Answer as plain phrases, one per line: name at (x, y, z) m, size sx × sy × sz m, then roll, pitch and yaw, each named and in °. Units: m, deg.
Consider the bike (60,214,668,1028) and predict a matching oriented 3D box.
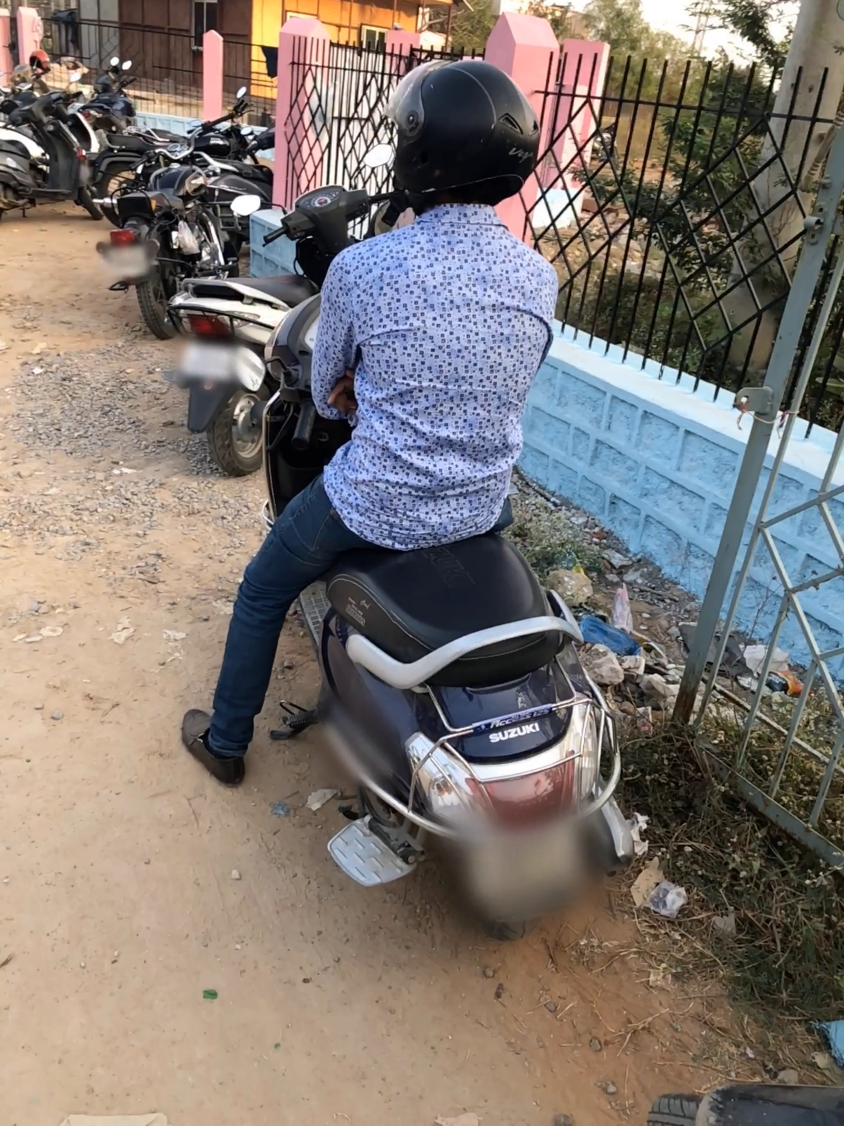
bike at (-0.302, 0.003, 2.026) m, size 0.594 × 1.013 × 1.399 m, roll -8°, pitch 35°, yaw -26°
